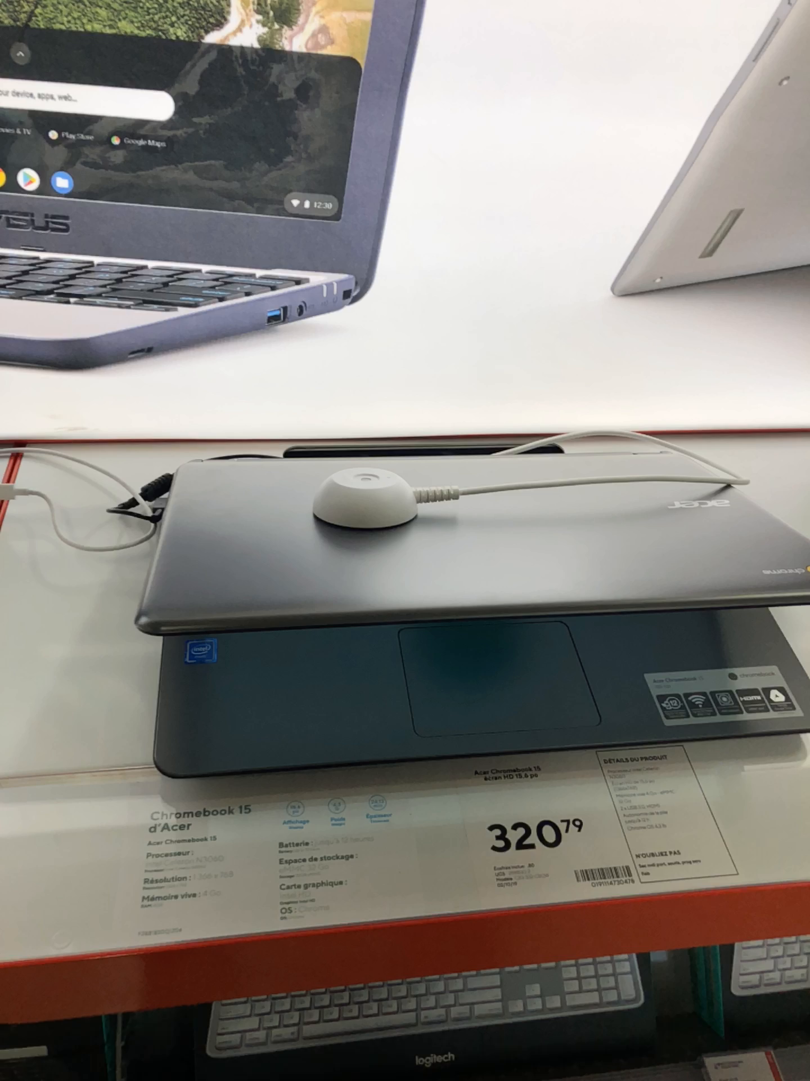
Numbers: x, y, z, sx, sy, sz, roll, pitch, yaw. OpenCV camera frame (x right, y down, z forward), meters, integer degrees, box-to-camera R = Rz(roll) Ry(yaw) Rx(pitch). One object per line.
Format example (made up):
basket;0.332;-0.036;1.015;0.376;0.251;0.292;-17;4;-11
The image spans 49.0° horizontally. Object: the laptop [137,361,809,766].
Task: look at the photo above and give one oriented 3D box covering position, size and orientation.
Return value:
laptop;0.044;-0.006;0.536;0.369;0.088;0.249;-2;41;-8
